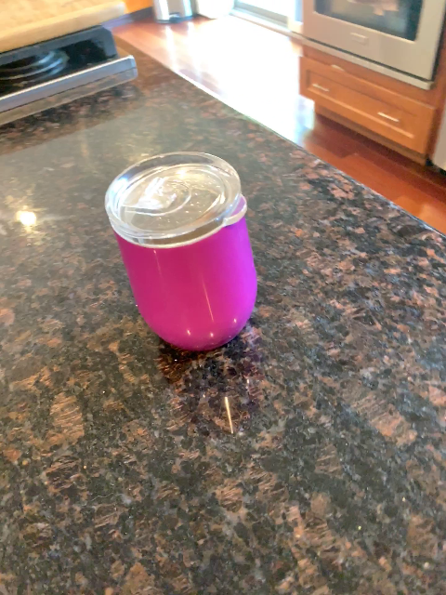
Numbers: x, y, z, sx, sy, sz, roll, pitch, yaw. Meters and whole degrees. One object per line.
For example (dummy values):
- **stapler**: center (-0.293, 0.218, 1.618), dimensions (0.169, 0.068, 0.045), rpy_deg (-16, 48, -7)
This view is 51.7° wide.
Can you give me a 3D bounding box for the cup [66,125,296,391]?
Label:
- **cup**: center (-0.019, -0.026, 0.290), dimensions (0.090, 0.109, 0.090), rpy_deg (-5, 46, 5)
